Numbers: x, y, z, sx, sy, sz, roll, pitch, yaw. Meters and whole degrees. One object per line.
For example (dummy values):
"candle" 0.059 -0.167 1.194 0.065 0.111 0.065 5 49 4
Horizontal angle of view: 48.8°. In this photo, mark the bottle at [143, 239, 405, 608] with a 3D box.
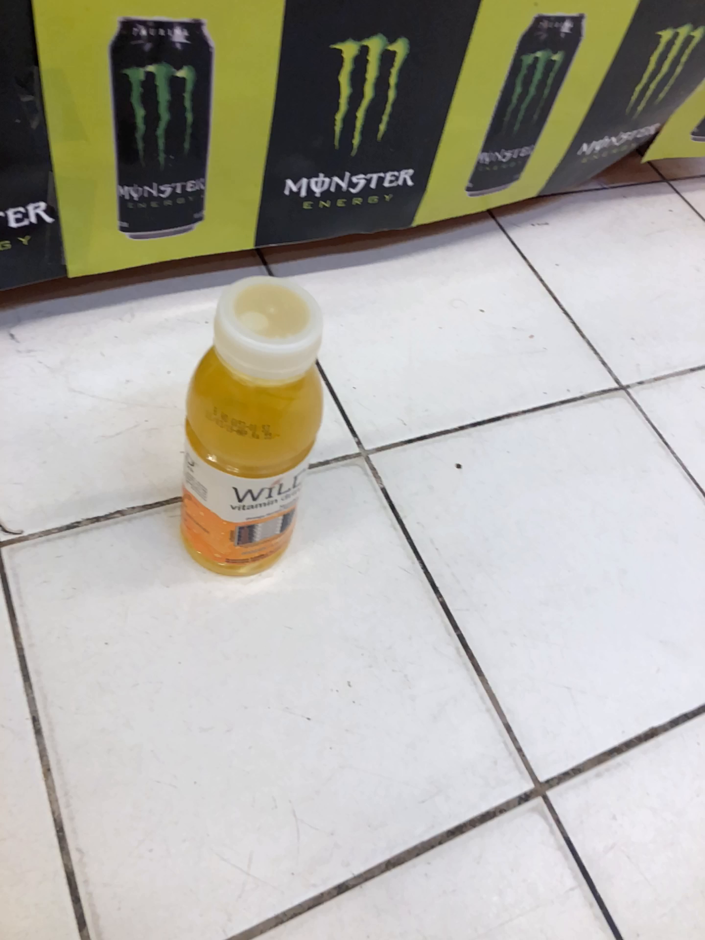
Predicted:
"bottle" -0.042 -0.014 0.330 0.070 0.139 0.070 7 53 -10
